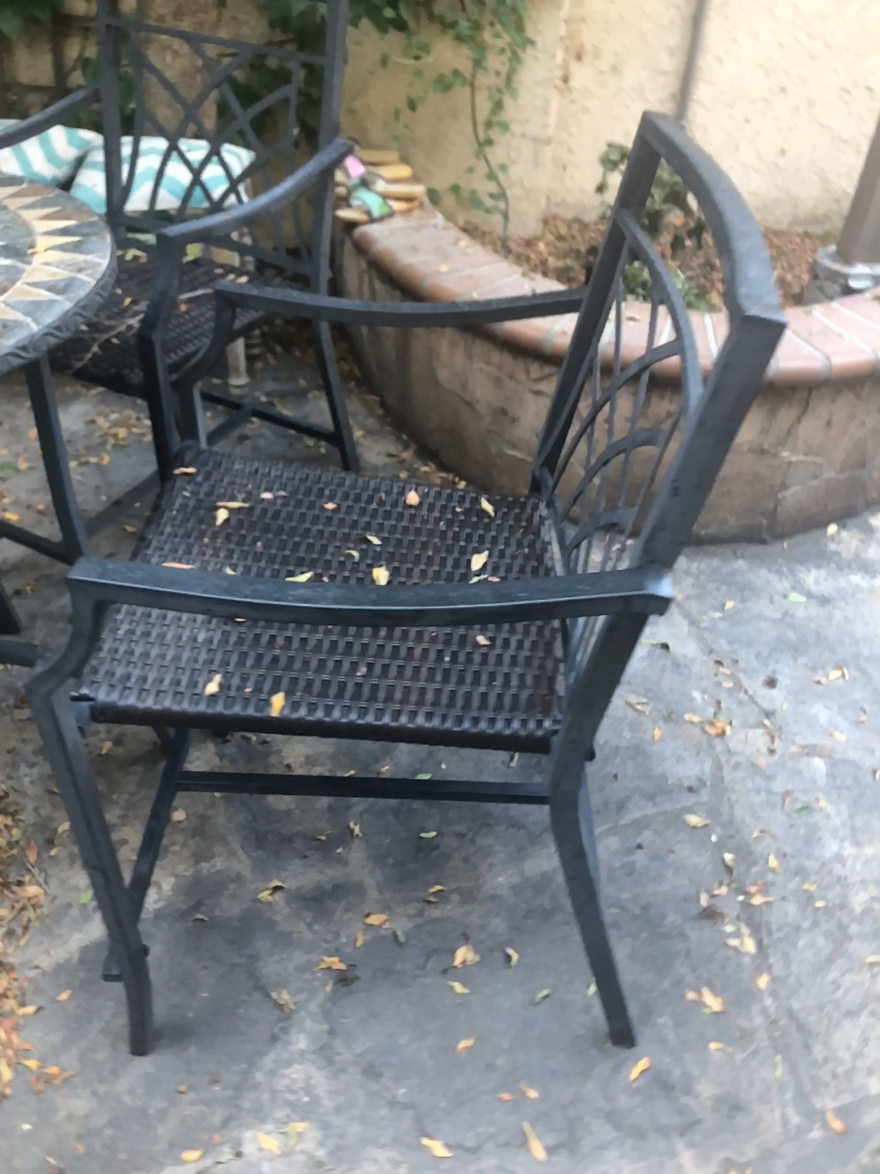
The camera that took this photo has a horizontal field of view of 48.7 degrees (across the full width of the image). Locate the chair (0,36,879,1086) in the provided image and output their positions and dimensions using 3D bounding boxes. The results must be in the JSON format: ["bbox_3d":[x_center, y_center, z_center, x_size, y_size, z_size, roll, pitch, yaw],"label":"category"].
[{"bbox_3d":[-0.046,-0.008,1.089,0.690,0.912,0.686,3,40,-1],"label":"chair"}]
